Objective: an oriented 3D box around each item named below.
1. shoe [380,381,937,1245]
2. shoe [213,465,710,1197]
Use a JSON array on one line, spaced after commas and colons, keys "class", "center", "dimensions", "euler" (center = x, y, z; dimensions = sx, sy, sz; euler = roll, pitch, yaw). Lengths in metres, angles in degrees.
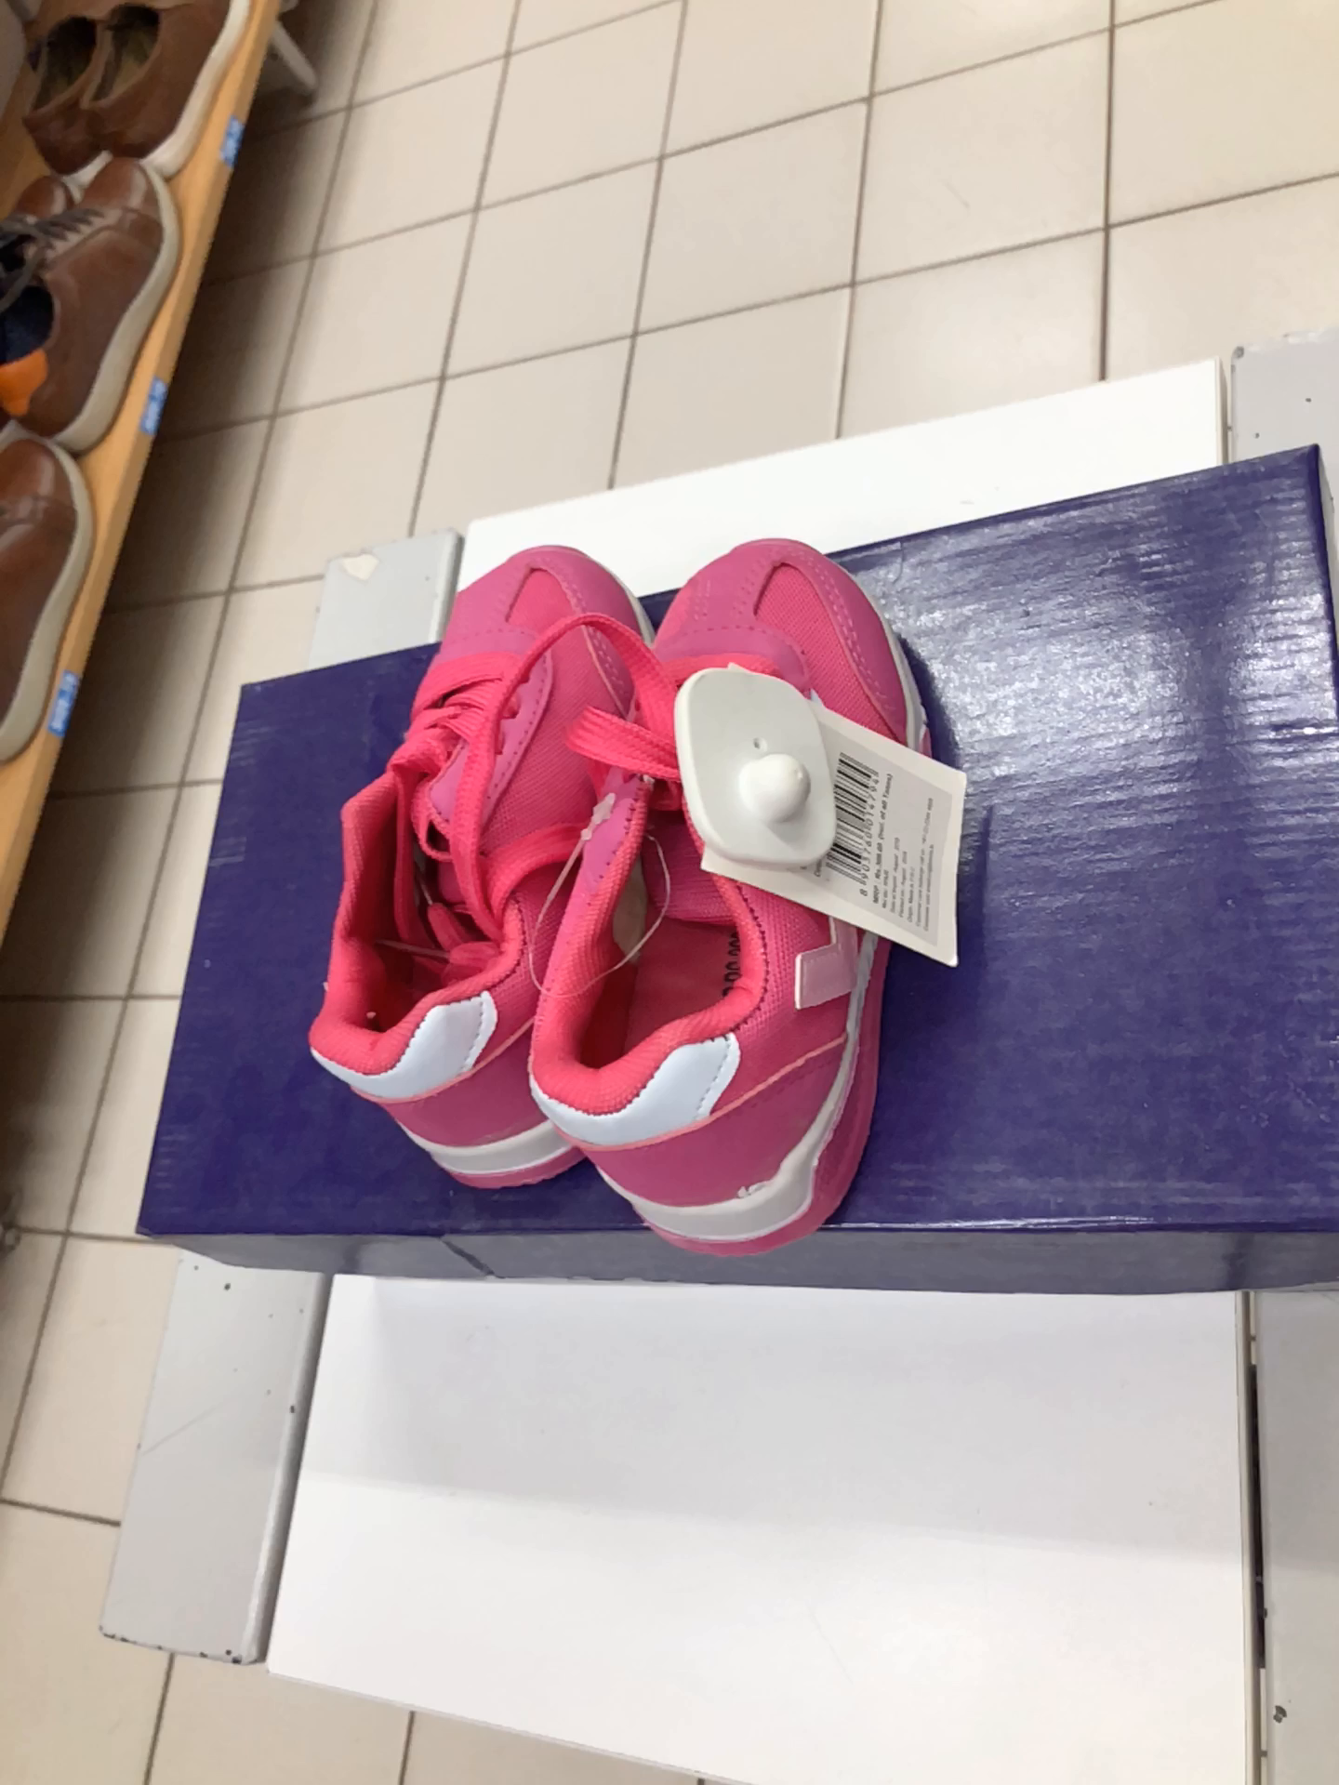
[{"class": "shoe", "center": [0.007, -0.011, 0.329], "dimensions": [0.080, 0.090, 0.160], "euler": [-5, 67, 25]}, {"class": "shoe", "center": [-0.045, -0.010, 0.383], "dimensions": [0.070, 0.090, 0.160], "euler": [-5, 67, 25]}]
